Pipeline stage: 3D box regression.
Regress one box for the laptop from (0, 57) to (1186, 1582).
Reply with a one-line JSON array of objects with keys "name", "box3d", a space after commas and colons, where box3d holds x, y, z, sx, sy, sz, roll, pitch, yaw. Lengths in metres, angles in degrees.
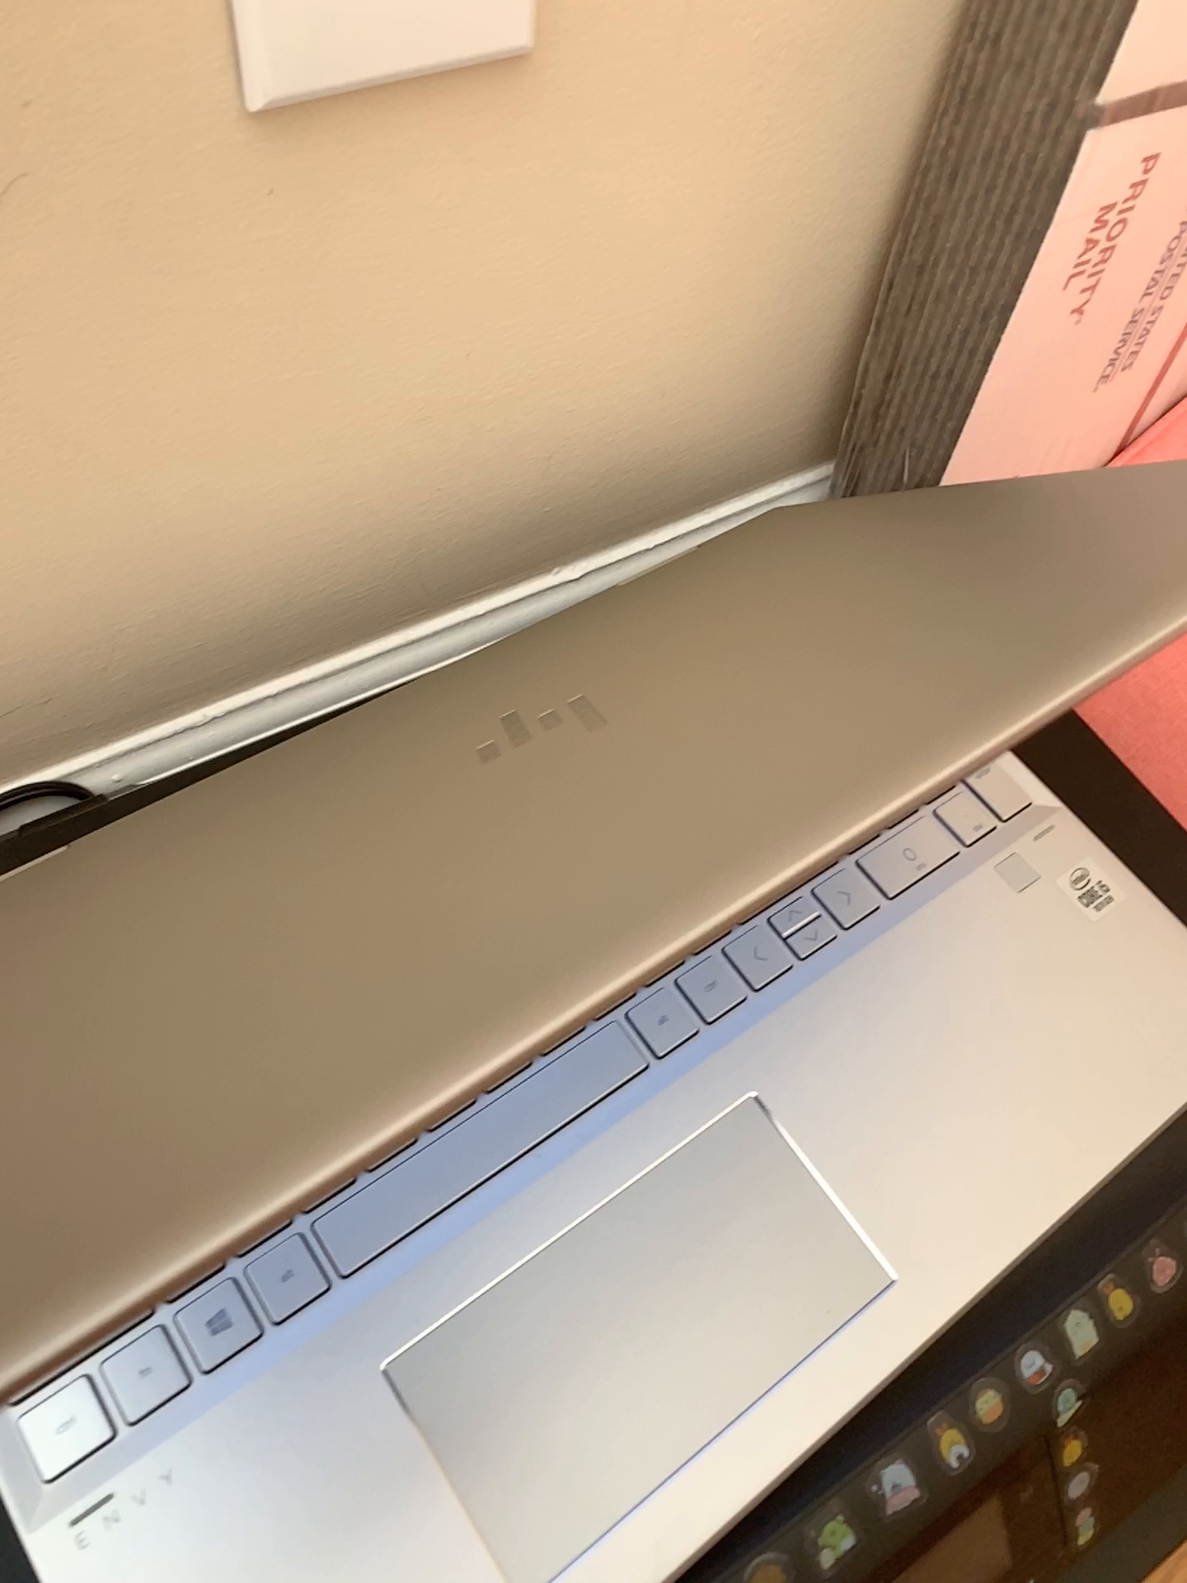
[{"name": "laptop", "box3d": [0.009, 0.018, 0.272, 0.351, 0.169, 0.236, -29, 66, -24]}]
